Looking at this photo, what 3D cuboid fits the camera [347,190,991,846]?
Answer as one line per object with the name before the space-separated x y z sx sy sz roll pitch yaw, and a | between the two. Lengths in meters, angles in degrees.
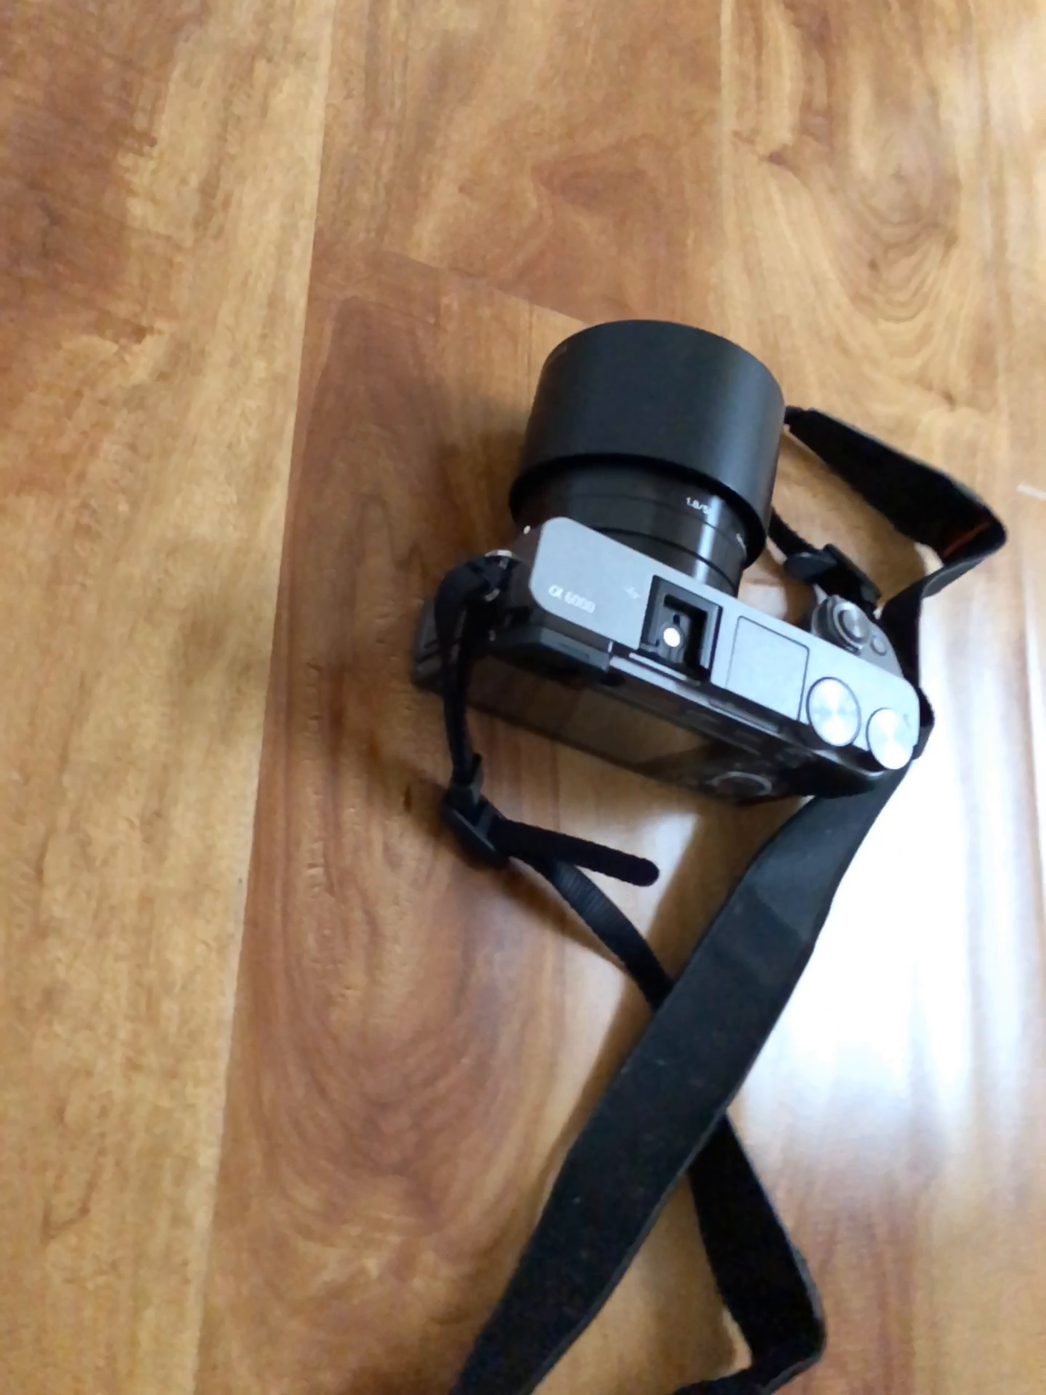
camera | 0.044 -0.037 0.315 0.140 0.080 0.110 22 67 -24
